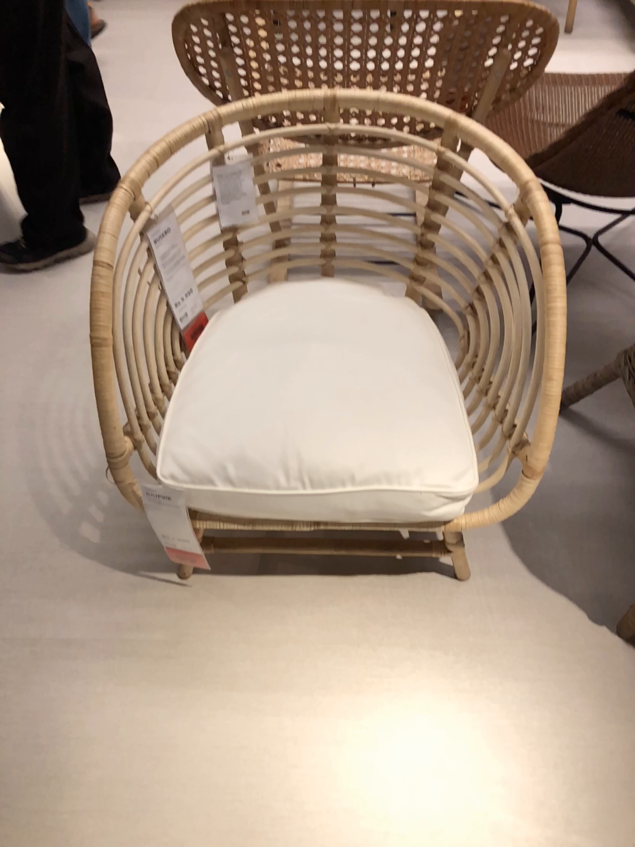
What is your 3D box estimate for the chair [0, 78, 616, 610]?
[{"bbox_3d":[0.002,-0.132,1.395,0.780,0.775,0.704,2,52,3],"label":"chair"}]
